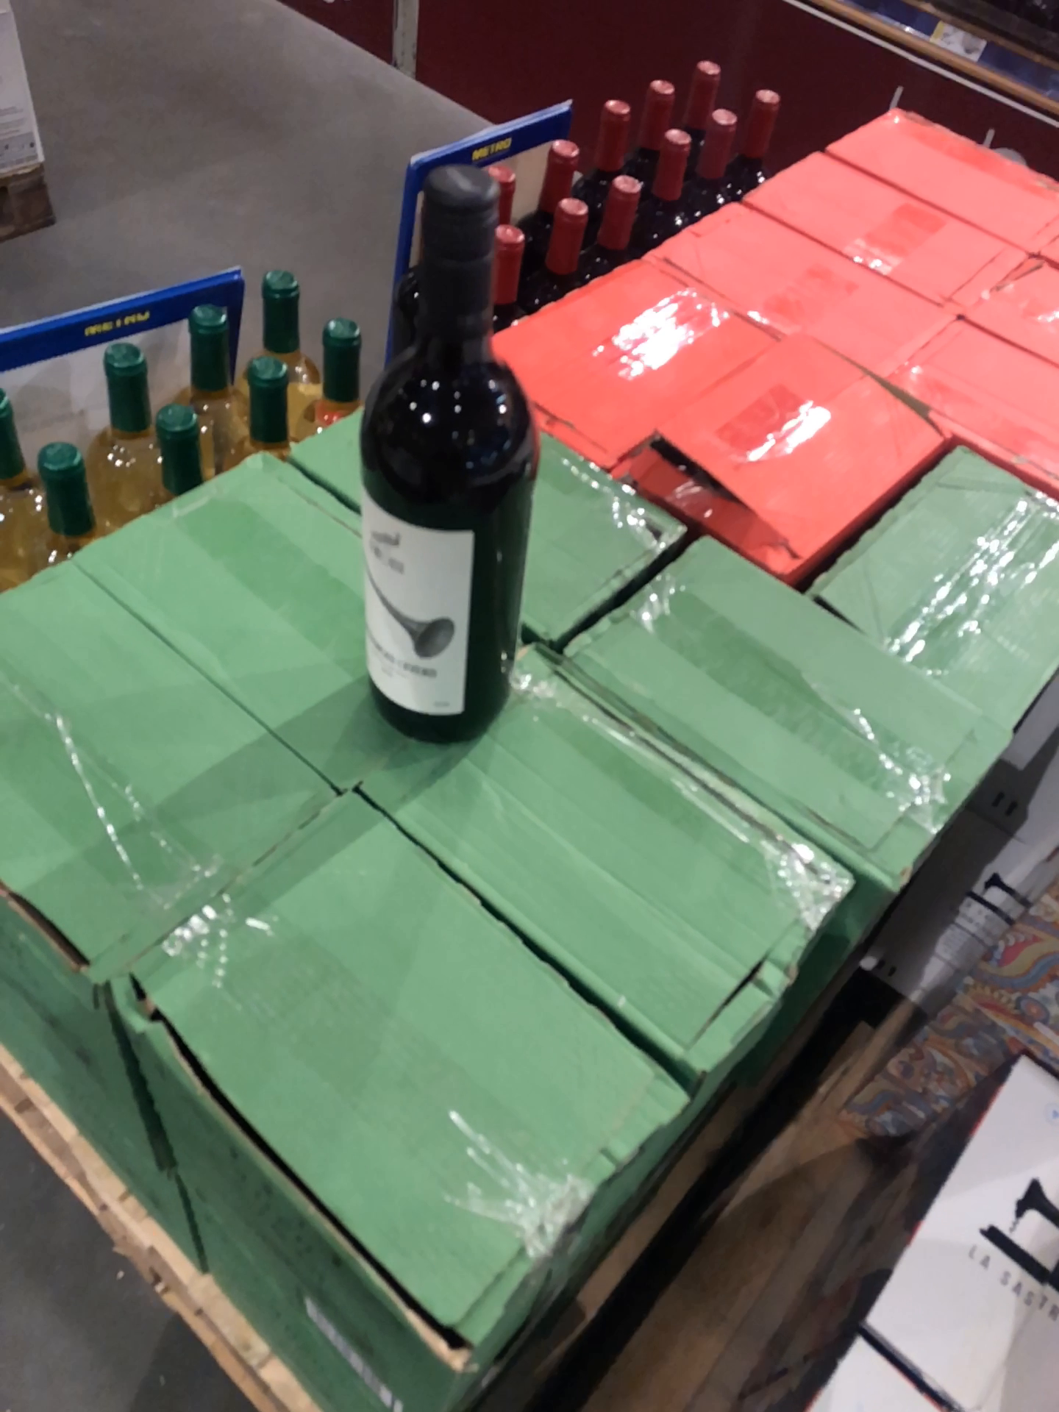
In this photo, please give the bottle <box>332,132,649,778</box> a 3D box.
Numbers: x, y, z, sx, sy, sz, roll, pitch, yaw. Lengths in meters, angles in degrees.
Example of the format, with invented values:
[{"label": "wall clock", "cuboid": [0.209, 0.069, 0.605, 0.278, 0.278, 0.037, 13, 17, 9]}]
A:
[{"label": "bottle", "cuboid": [-0.032, -0.098, 0.544, 0.080, 0.288, 0.090, -34, 63, -30]}]
